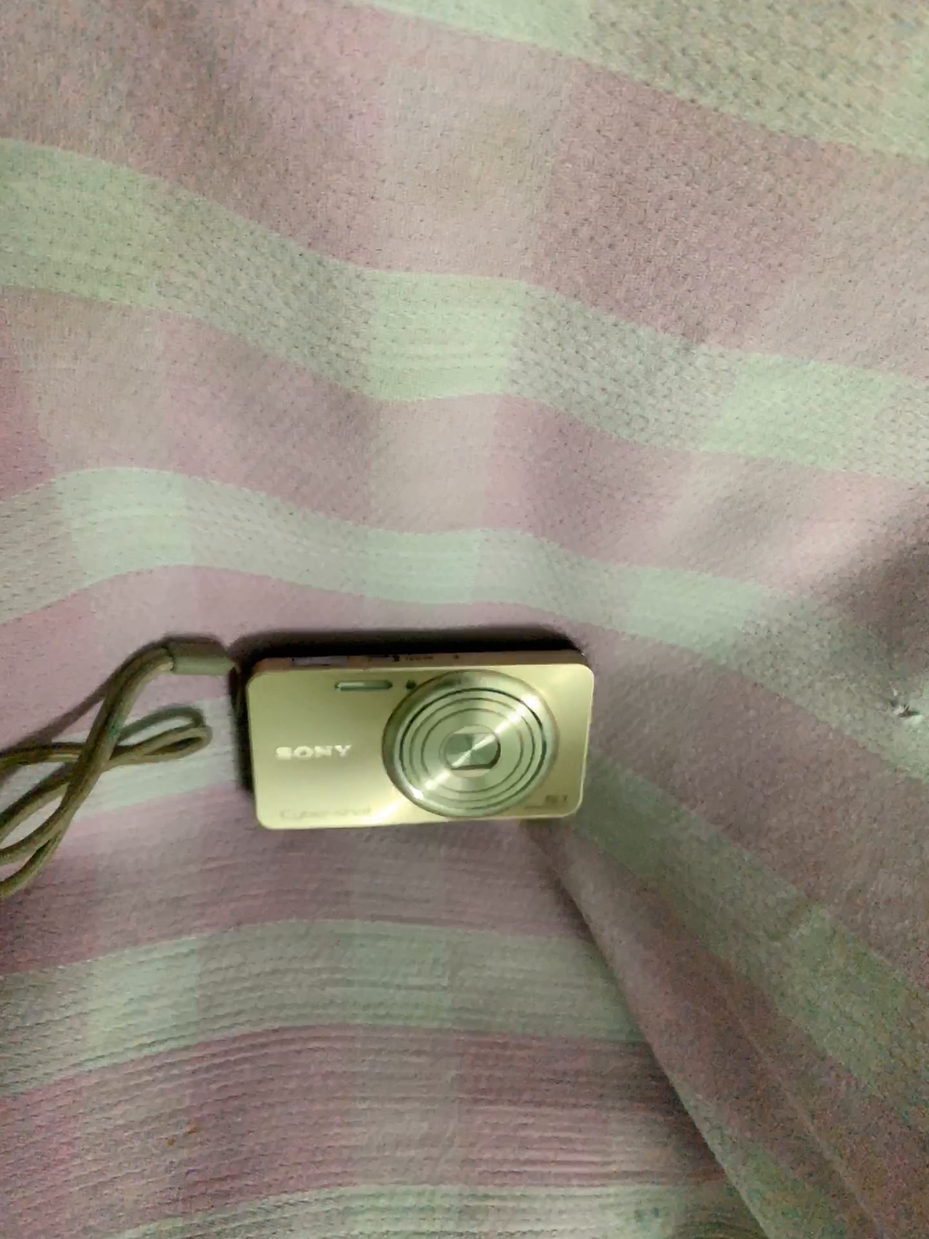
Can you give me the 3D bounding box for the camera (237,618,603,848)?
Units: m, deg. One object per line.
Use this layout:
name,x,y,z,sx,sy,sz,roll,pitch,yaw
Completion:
camera,-0.012,0.030,0.266,0.091,0.027,0.053,-2,116,-6
